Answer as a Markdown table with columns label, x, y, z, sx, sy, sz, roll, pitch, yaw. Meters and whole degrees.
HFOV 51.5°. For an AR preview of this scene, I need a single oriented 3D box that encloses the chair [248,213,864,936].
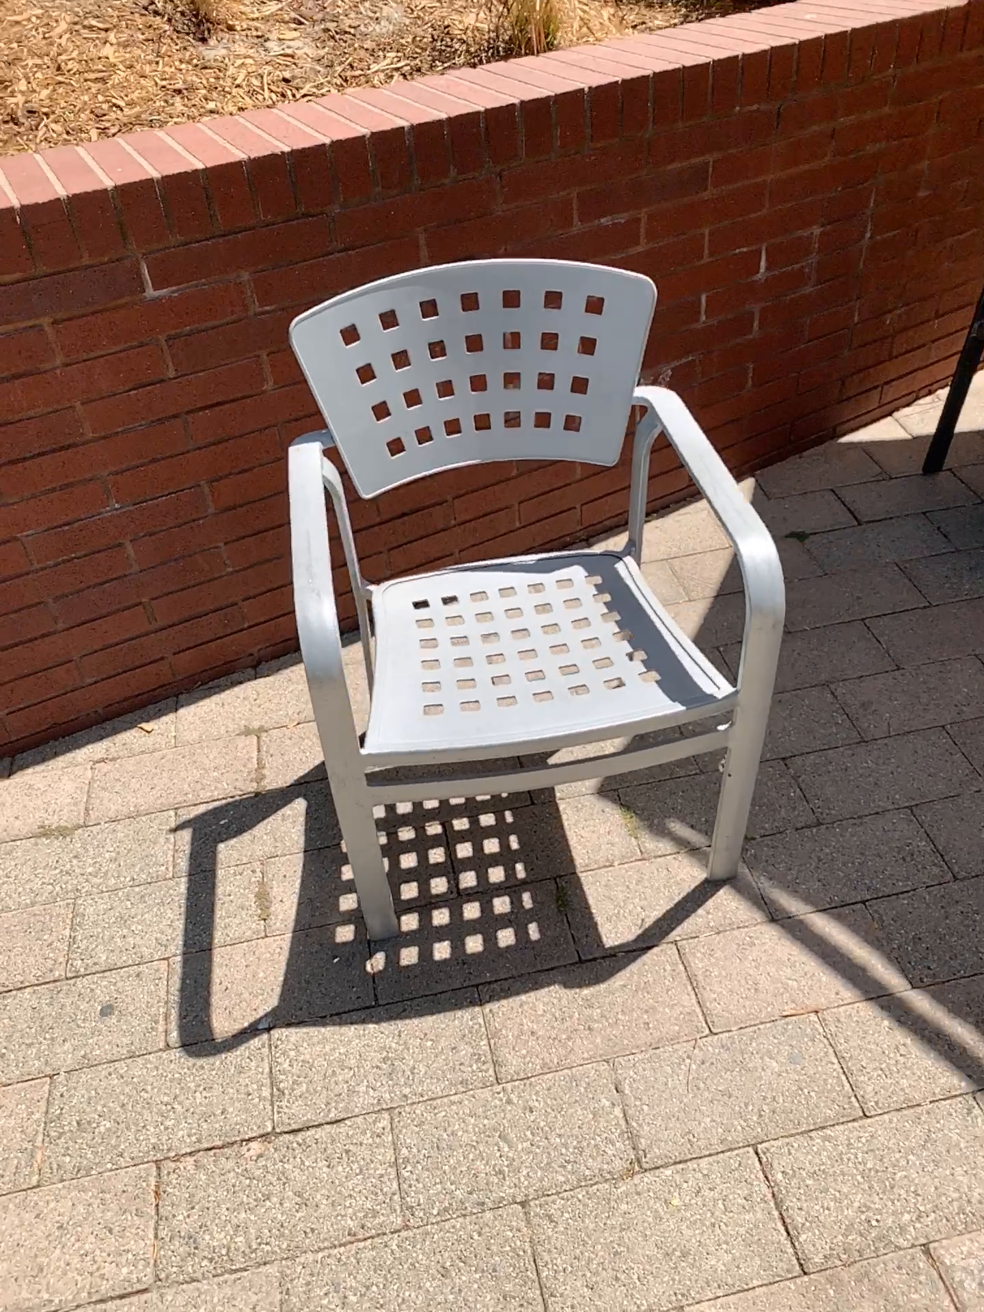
| label | x | y | z | sx | sy | sz | roll | pitch | yaw |
| --- | --- | --- | --- | --- | --- | --- | --- | --- | --- |
| chair | 0.042 | -0.104 | 1.332 | 0.559 | 0.698 | 0.502 | -10 | 41 | -6 |
